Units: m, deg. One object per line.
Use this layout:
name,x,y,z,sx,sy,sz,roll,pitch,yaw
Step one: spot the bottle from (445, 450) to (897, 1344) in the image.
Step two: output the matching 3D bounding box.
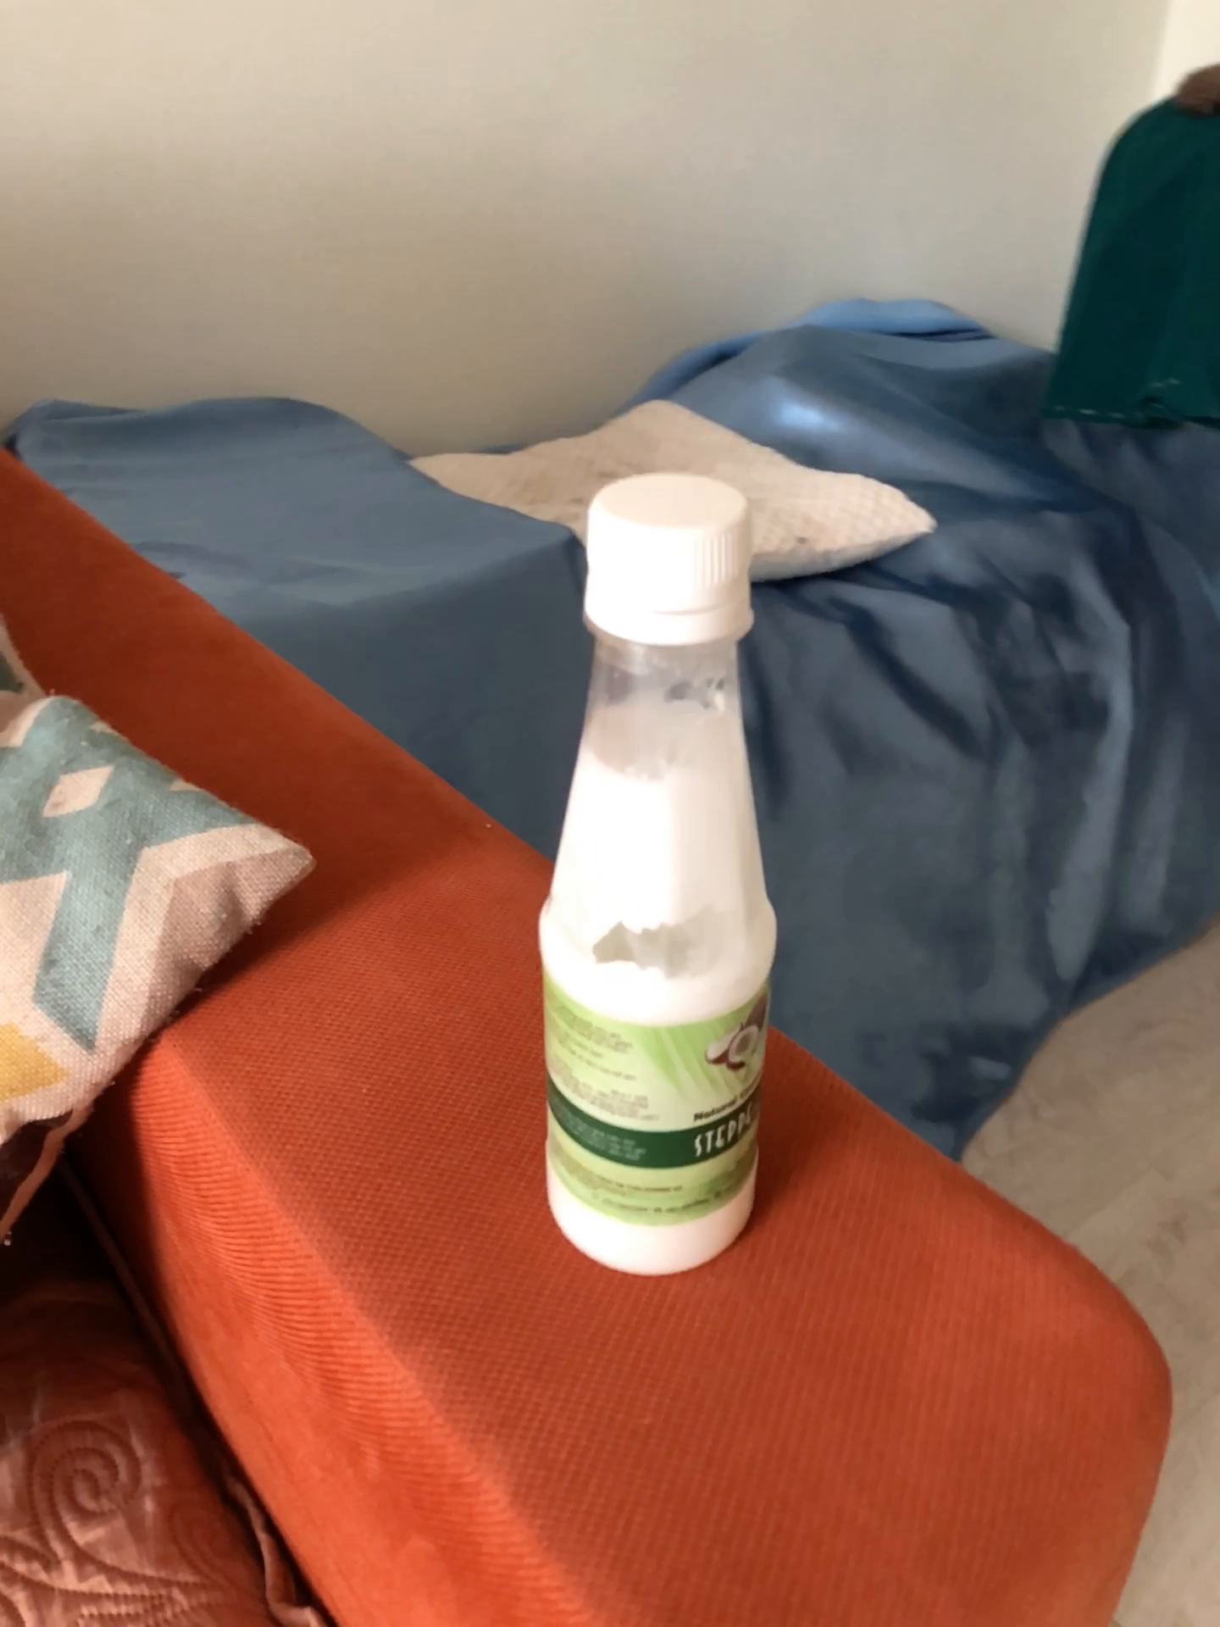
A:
bottle,0.010,0.021,0.295,0.060,0.179,0.060,1,30,-1
